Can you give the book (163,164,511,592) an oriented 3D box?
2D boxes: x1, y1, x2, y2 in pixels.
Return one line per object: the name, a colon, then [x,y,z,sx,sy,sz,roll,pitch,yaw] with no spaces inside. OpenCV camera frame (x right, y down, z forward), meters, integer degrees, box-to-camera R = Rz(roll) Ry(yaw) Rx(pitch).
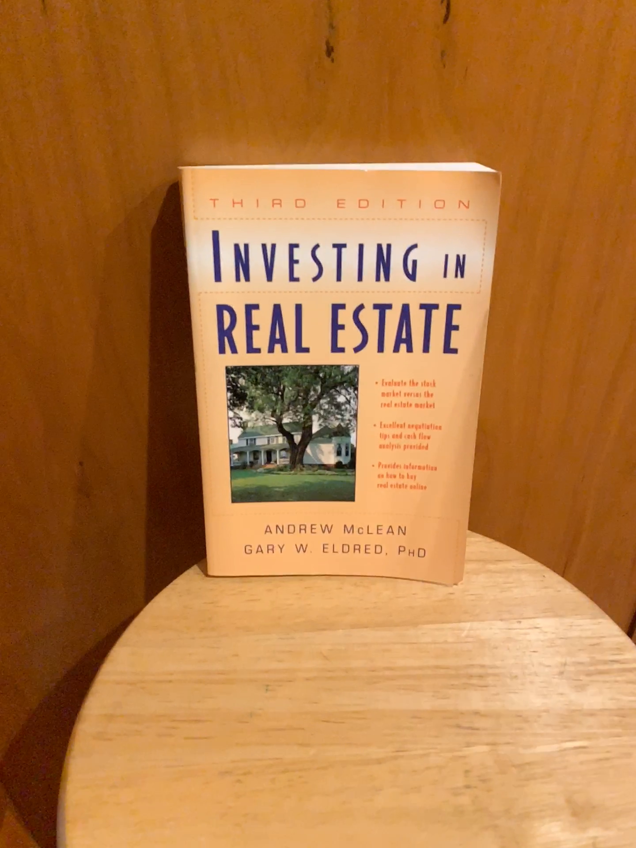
book: [0.008,-0.021,0.363,0.160,0.229,0.050,-1,20,-2]
